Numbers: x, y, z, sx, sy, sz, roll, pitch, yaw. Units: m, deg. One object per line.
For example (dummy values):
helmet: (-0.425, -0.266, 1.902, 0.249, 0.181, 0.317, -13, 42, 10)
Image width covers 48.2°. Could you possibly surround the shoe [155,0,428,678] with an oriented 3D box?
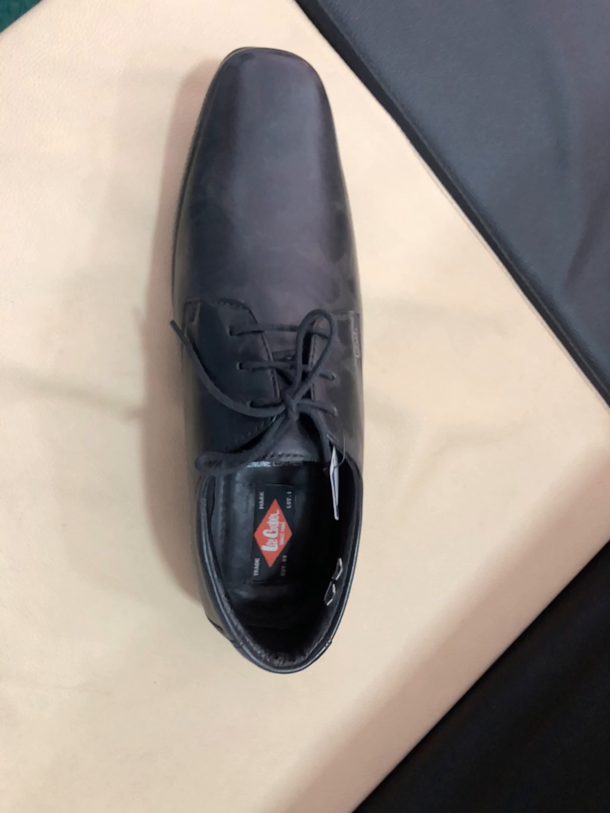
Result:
shoe: (-0.013, -0.034, 0.294, 0.090, 0.080, 0.270, 2, 94, -13)
